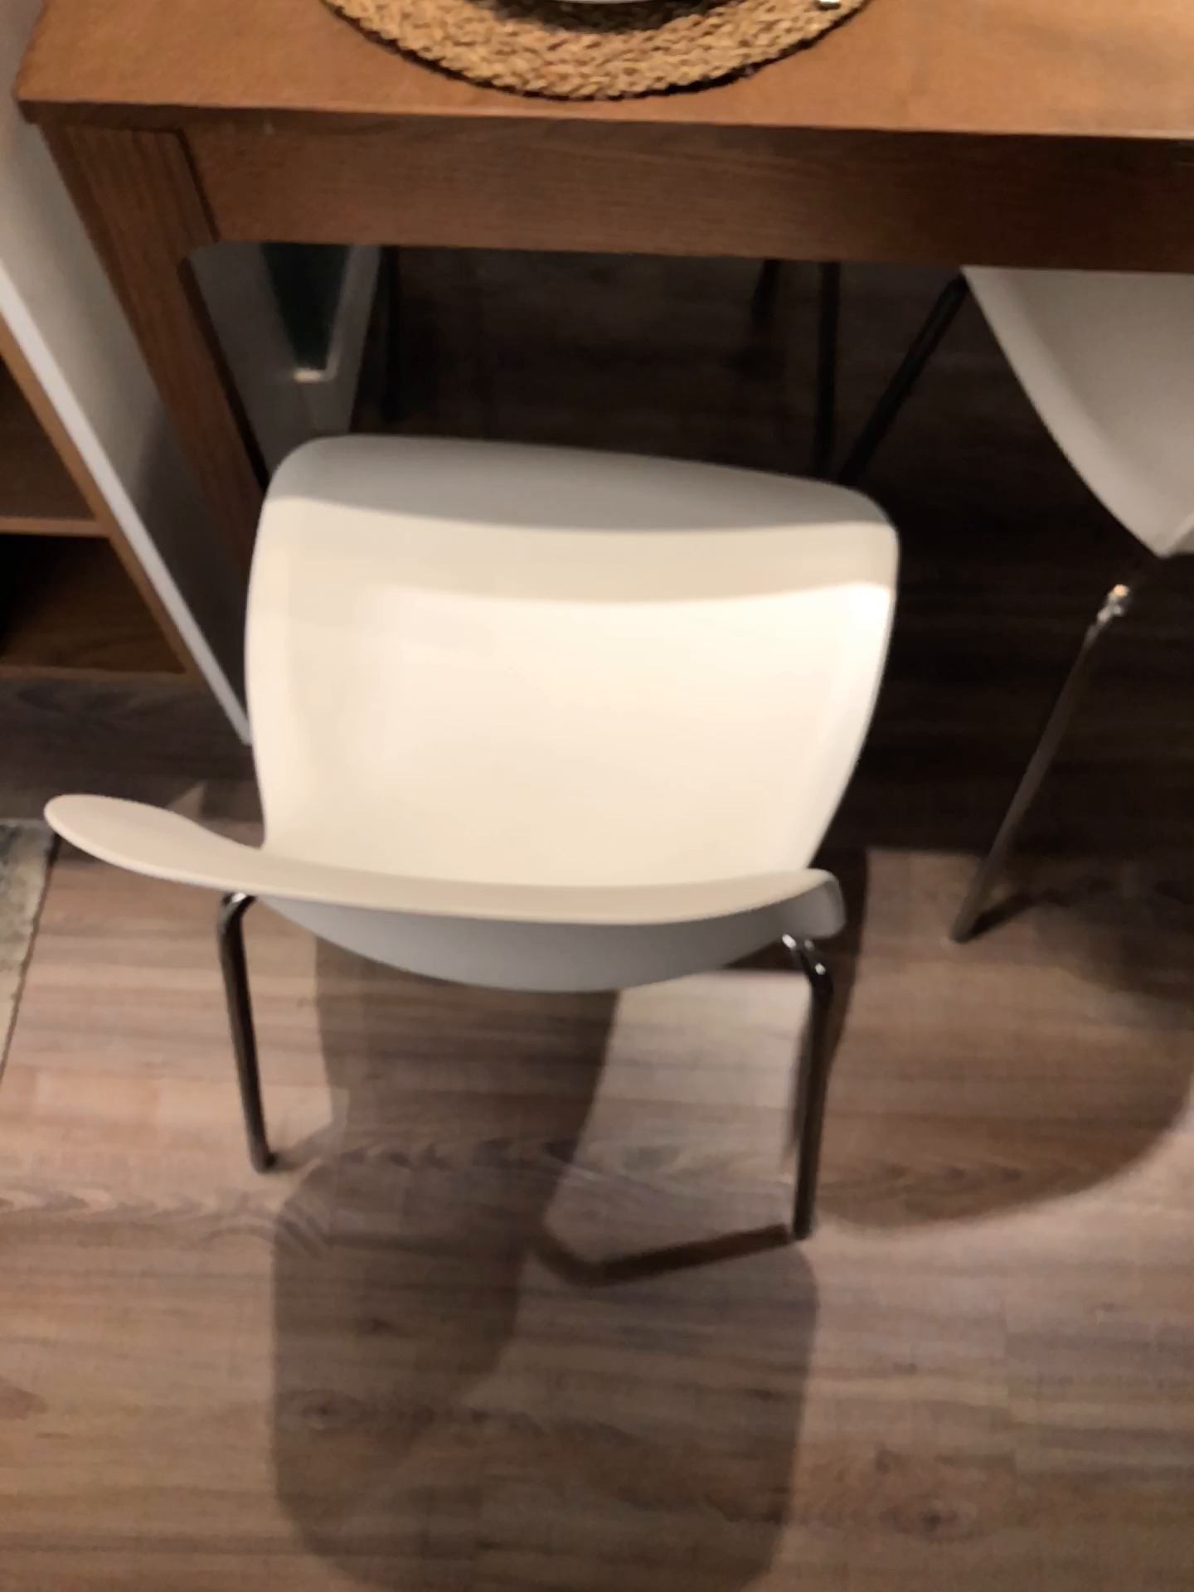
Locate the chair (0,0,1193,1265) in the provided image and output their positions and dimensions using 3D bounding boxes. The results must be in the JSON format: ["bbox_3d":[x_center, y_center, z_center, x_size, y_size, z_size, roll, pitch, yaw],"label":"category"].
[{"bbox_3d":[-0.028,-0.033,0.894,0.540,0.708,0.532,6,65,3],"label":"chair"}]
